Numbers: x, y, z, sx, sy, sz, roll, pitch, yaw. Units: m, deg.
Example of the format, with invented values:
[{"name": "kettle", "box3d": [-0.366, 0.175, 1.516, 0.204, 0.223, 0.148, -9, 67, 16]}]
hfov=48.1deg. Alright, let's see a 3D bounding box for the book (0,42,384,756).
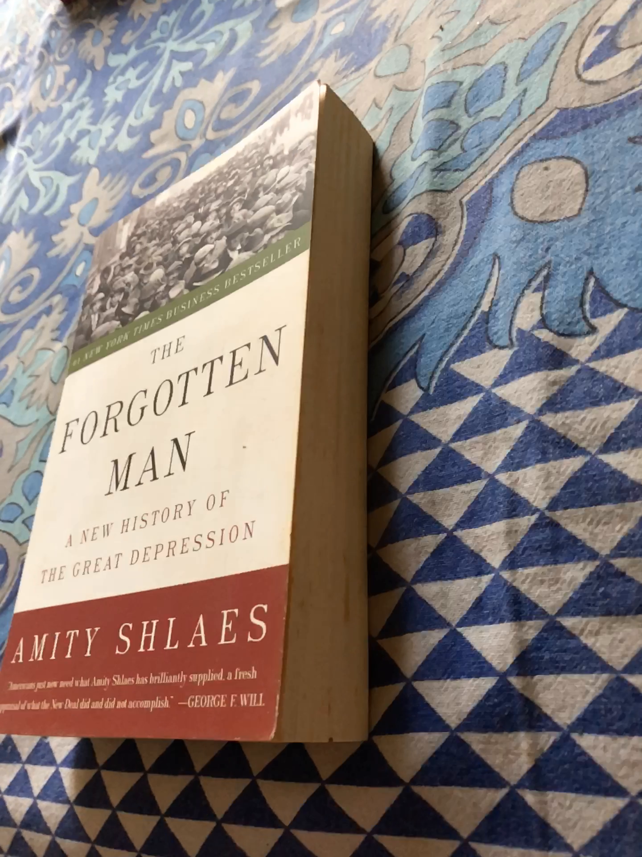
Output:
[{"name": "book", "box3d": [-0.055, -0.002, 0.238, 0.141, 0.050, 0.200, -19, 59, 35]}]
